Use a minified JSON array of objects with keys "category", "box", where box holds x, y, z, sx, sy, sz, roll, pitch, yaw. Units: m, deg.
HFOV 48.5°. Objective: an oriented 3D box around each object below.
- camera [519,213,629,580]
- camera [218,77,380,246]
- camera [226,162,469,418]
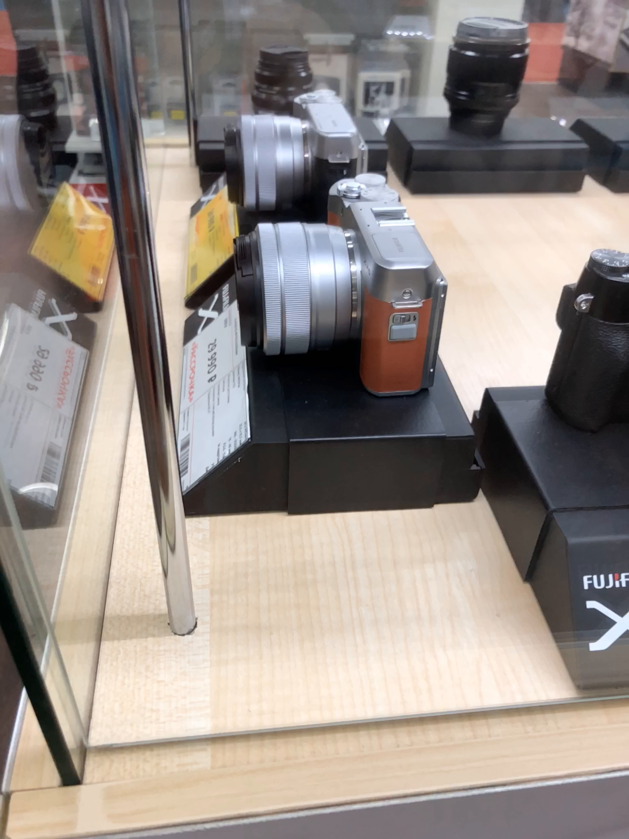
[{"category":"camera","box":[0.172,-0.016,0.274,0.131,0.090,0.113,-2,38,-7]},{"category":"camera","box":[-0.017,-0.179,0.477,0.093,0.075,0.122,-3,38,-8]},{"category":"camera","box":[0.006,-0.069,0.343,0.093,0.075,0.122,-3,38,-8]}]
